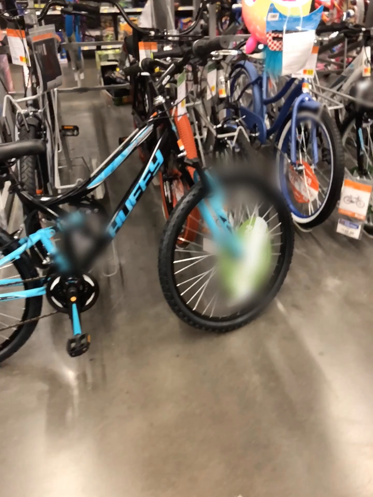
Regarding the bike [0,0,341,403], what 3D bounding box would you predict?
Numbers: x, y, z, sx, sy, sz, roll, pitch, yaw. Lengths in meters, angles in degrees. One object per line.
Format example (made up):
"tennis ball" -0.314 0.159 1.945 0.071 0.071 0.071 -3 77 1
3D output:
"bike" -0.378 -0.251 1.576 1.705 1.121 0.546 -12 37 -14
